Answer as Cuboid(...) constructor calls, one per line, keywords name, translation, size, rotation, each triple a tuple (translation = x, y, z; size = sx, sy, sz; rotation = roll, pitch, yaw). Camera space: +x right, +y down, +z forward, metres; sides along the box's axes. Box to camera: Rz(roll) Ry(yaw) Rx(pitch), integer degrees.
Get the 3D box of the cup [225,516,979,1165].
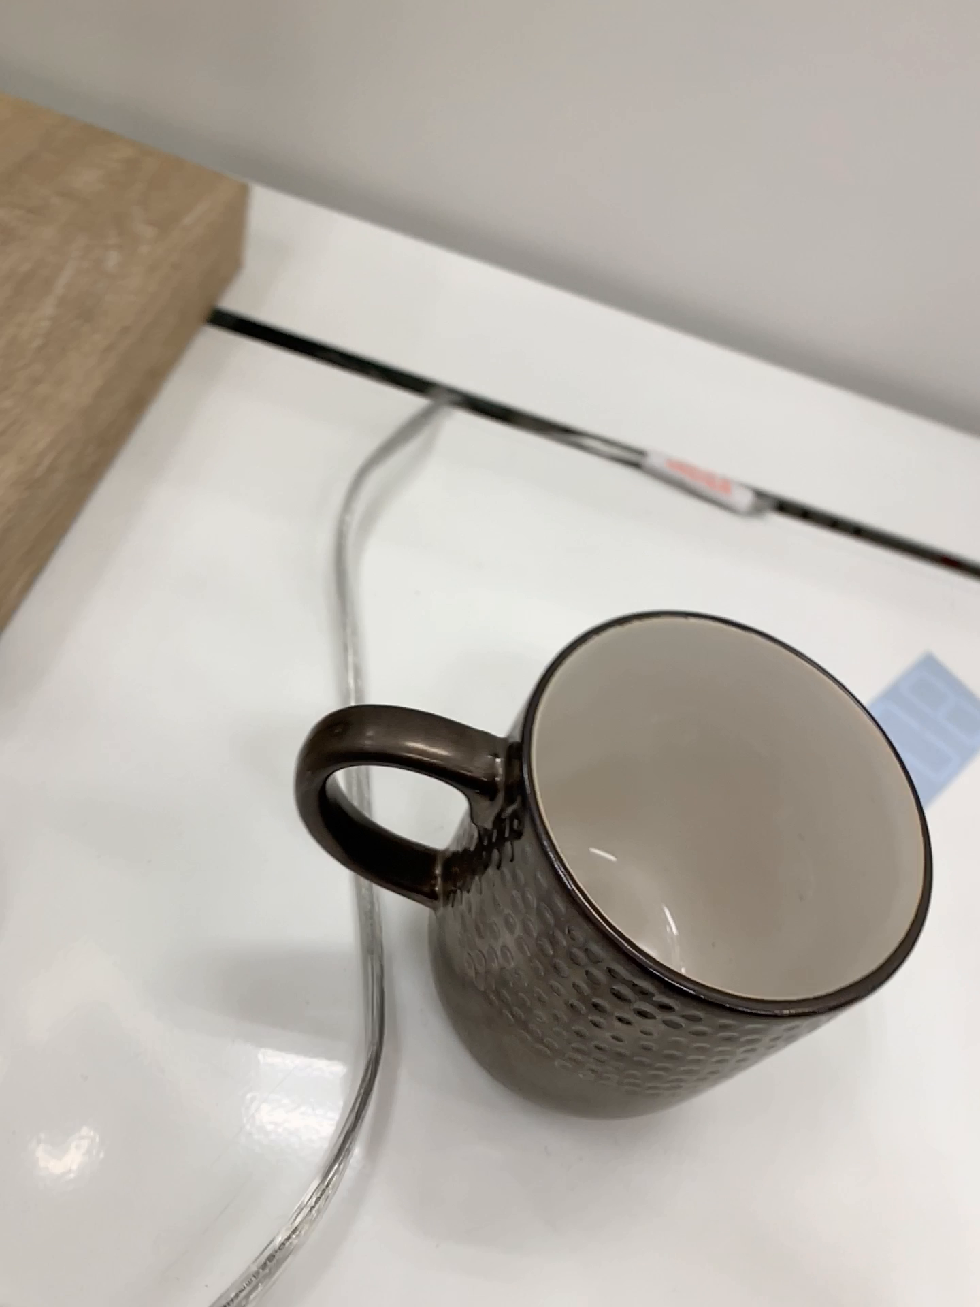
Cuboid(name="cup", translation=(0.019, 0.049, 0.241), size=(0.131, 0.093, 0.095), rotation=(14, 52, -9))
